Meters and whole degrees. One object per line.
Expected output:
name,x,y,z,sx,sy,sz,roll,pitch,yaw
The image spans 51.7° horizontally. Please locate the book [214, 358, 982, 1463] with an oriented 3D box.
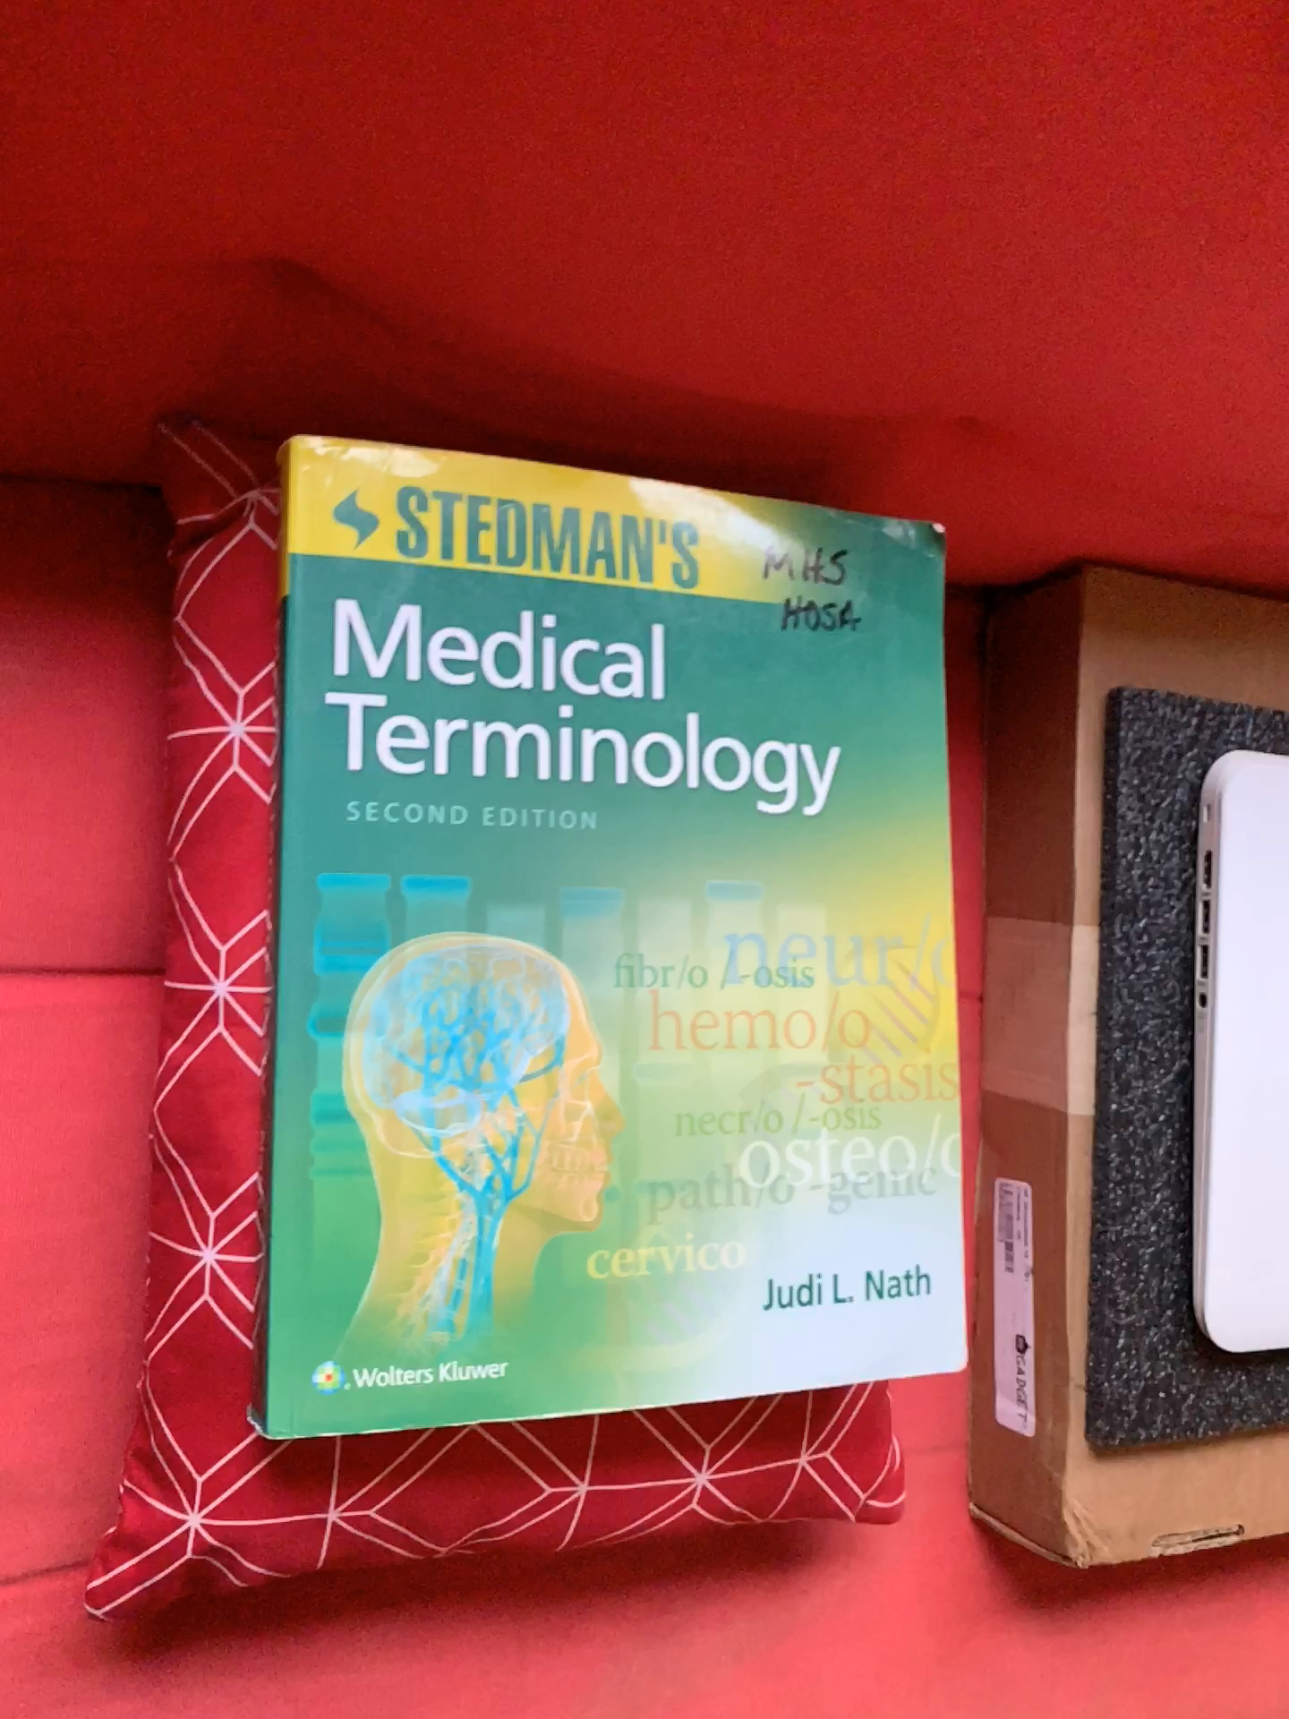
book,-0.005,0.015,0.426,0.240,0.040,0.300,2,85,-23
